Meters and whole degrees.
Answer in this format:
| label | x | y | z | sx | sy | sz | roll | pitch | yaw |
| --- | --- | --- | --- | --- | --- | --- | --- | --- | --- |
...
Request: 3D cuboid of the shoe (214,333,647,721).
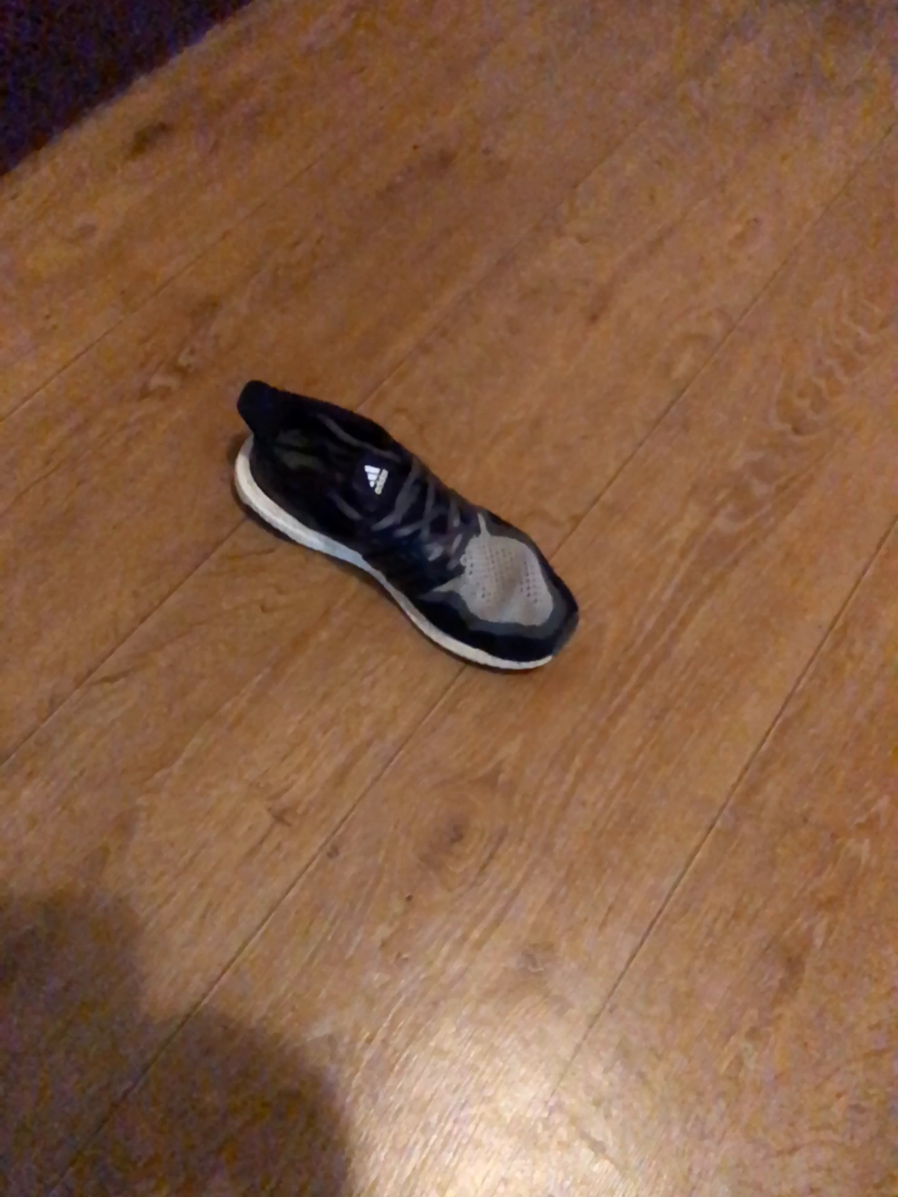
| label | x | y | z | sx | sy | sz | roll | pitch | yaw |
| --- | --- | --- | --- | --- | --- | --- | --- | --- | --- |
| shoe | -0.017 | -0.051 | 0.694 | 0.270 | 0.100 | 0.113 | 34 | 66 | 11 |
